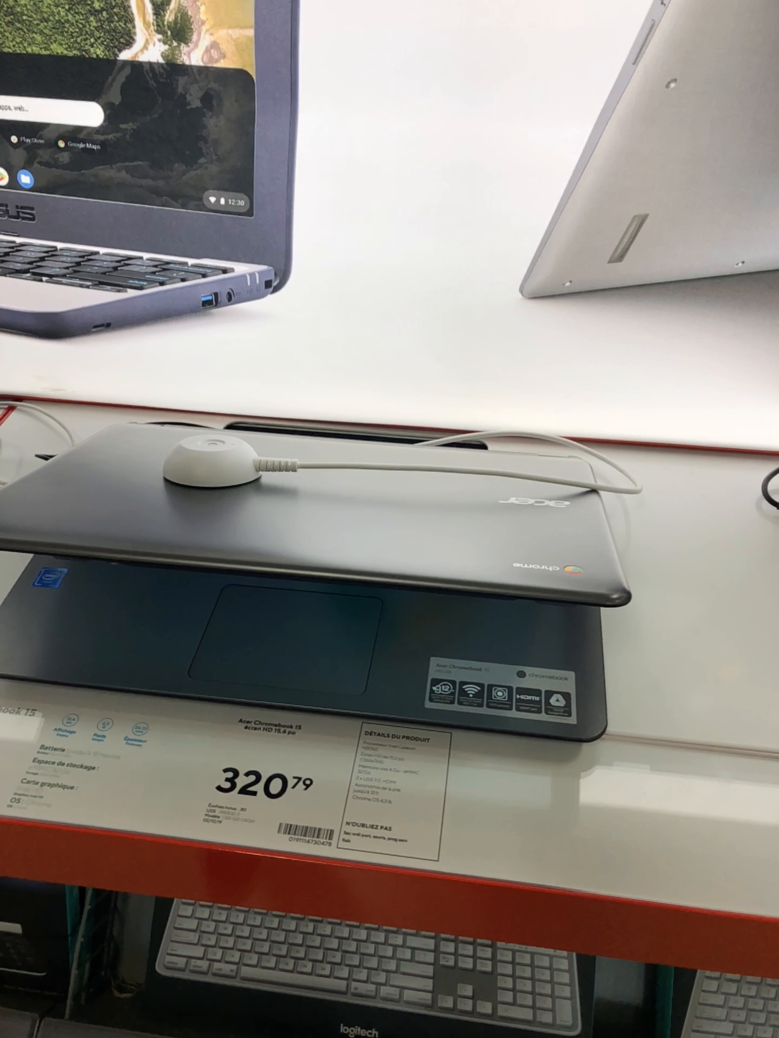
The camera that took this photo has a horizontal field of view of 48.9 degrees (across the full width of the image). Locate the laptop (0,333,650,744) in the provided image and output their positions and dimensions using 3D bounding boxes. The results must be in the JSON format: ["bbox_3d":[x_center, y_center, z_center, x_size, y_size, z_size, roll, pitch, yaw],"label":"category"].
[{"bbox_3d":[-0.045,-0.010,0.548,0.369,0.088,0.249,5,40,7],"label":"laptop"}]
